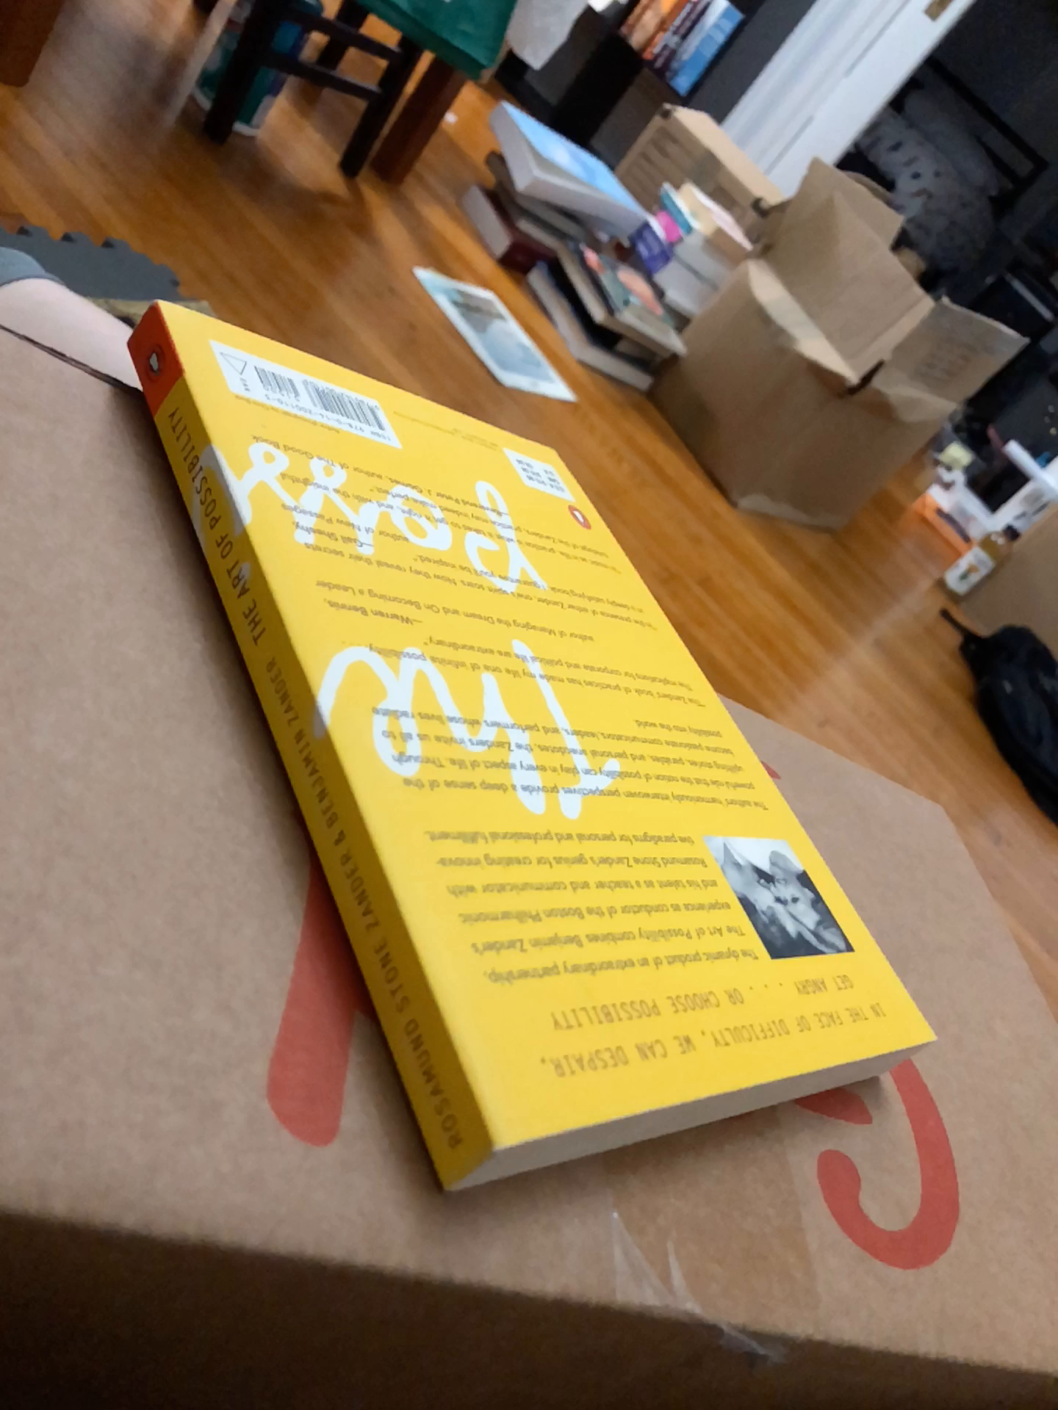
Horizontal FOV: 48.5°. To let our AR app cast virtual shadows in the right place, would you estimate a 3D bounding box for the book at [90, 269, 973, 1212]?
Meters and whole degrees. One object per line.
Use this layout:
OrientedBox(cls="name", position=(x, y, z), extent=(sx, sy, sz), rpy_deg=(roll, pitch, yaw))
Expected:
OrientedBox(cls="book", position=(-0.001, -0.006, 0.271), extent=(0.151, 0.020, 0.210), rpy_deg=(8, 44, -45))
